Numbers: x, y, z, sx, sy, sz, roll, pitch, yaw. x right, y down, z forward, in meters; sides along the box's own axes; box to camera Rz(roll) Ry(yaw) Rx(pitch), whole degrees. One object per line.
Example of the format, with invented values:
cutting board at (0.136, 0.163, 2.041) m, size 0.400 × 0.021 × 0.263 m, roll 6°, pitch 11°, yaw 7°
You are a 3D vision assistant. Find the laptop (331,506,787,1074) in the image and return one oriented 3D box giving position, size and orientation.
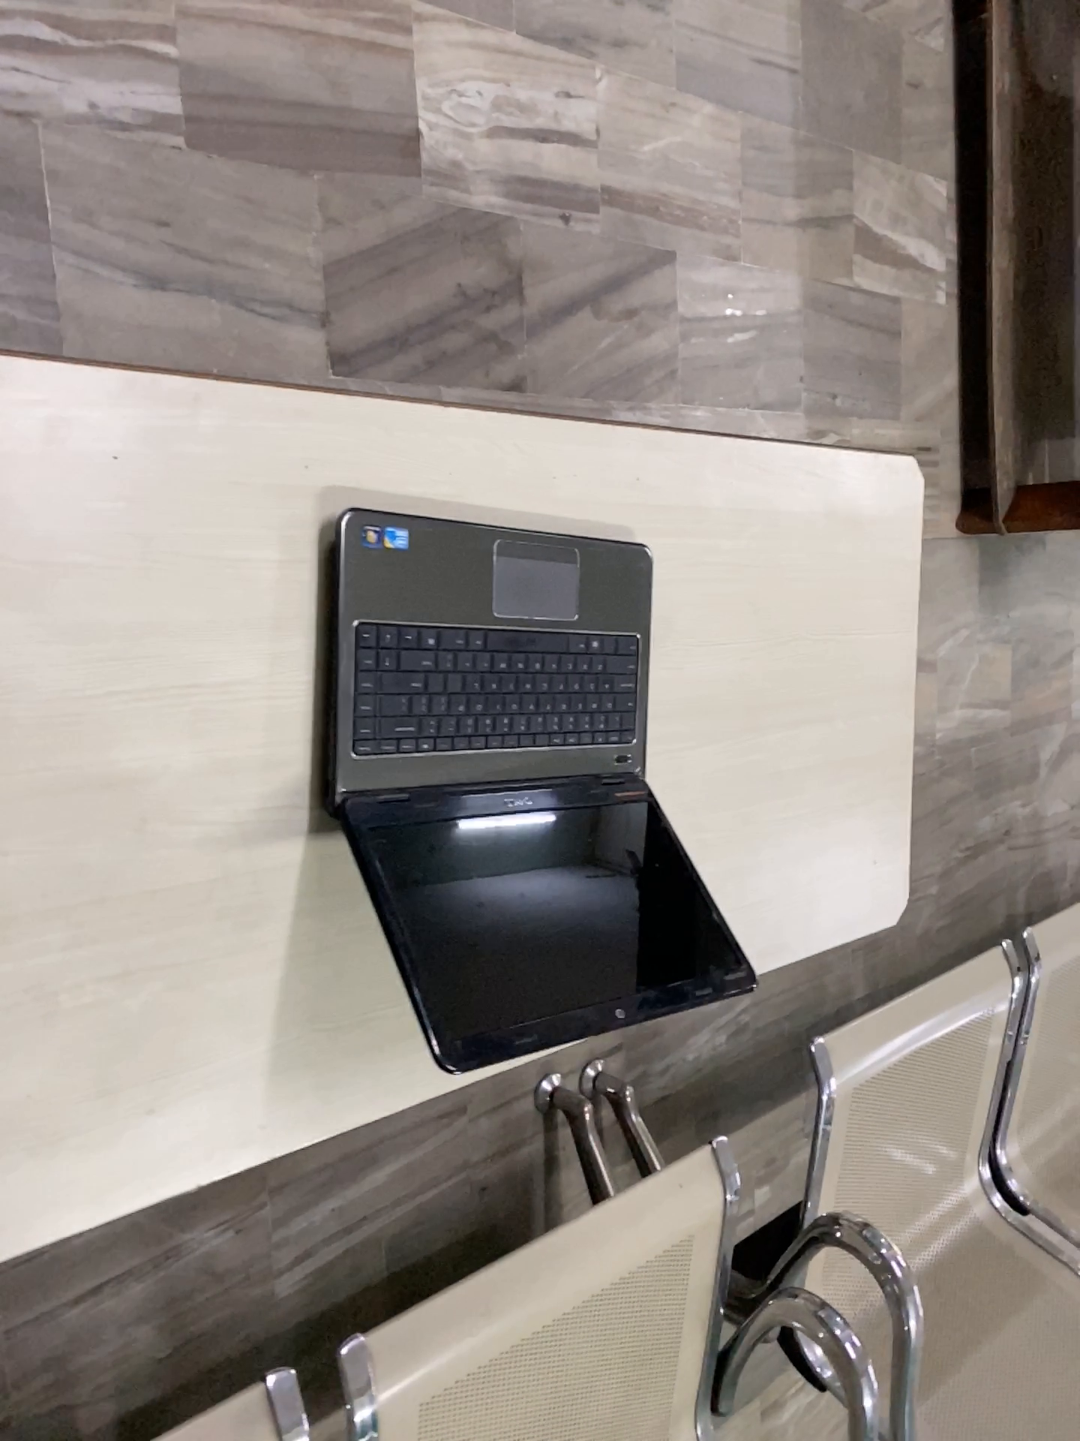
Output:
laptop at (0.022, 0.040, 0.886) m, size 0.330 × 0.152 × 0.378 m, roll -1°, pitch 96°, yaw -39°
